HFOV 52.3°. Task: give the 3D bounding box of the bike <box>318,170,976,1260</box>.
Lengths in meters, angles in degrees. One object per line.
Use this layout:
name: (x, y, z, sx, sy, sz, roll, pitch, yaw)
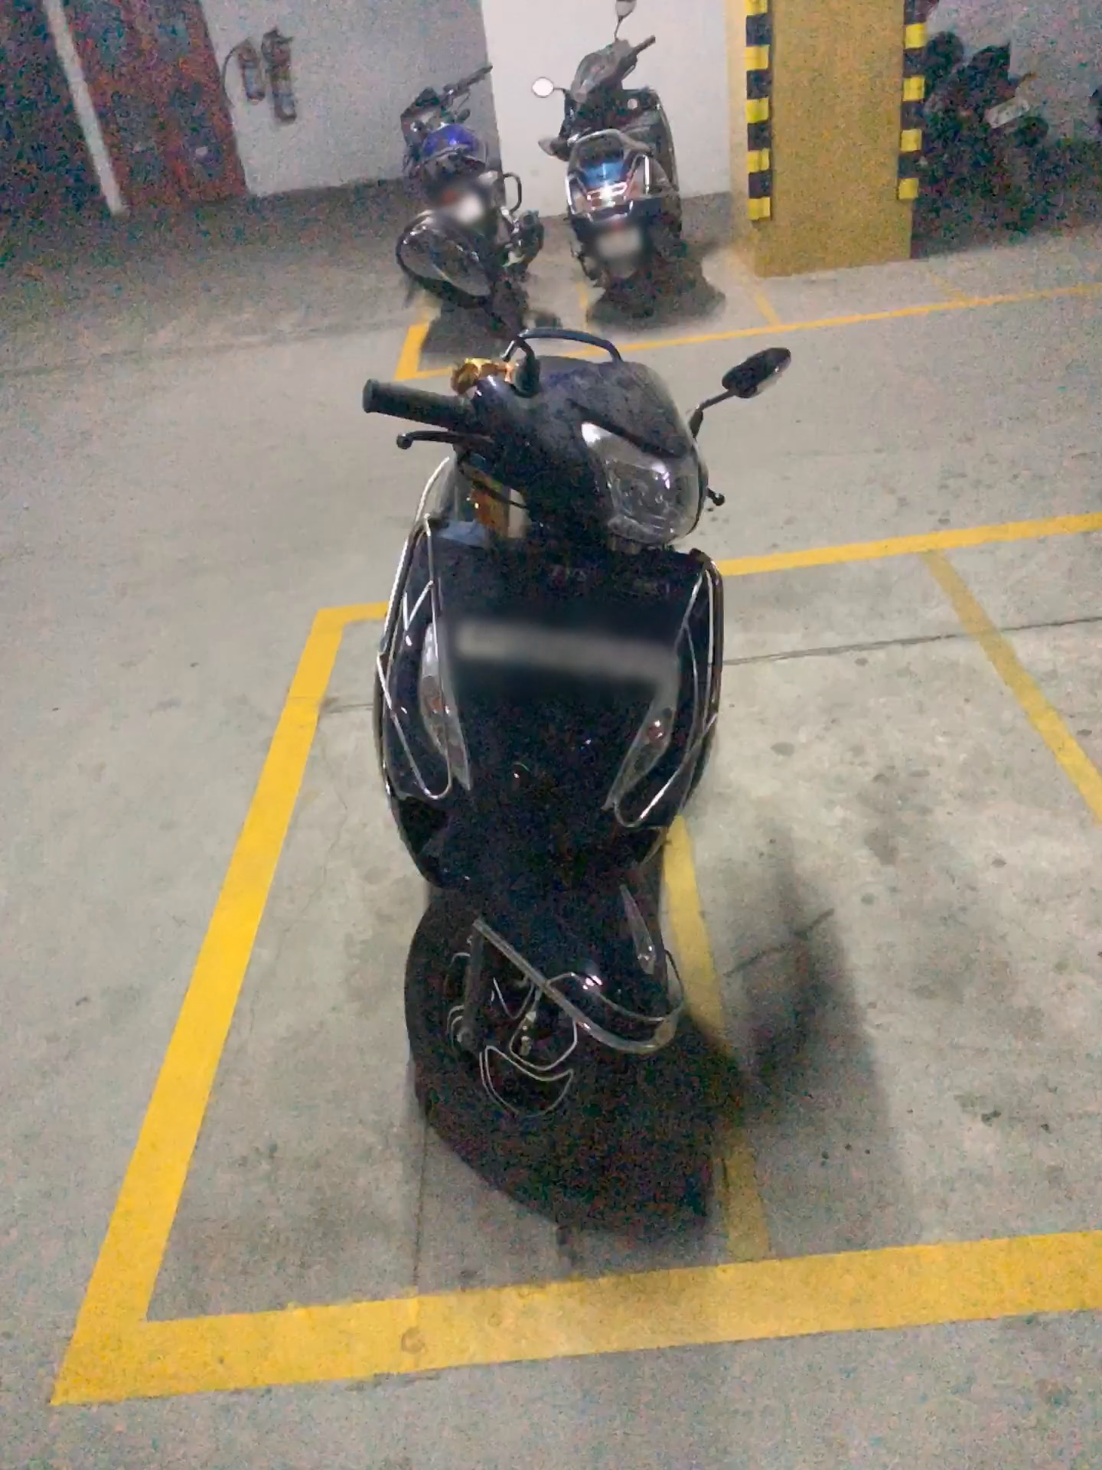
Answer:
bike: (0.062, -0.221, 2.061, 0.664, 1.028, 1.702, -9, 38, -1)
